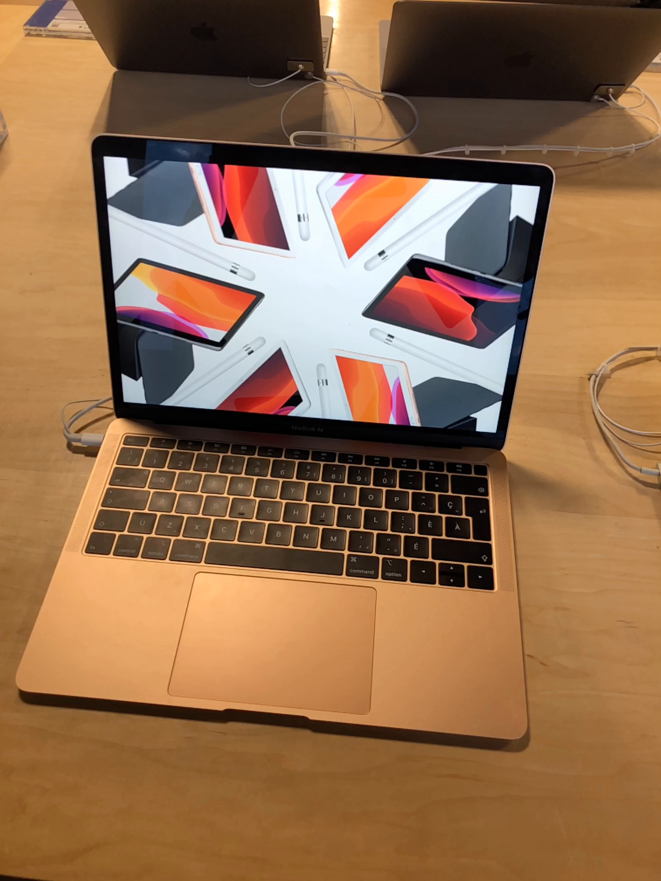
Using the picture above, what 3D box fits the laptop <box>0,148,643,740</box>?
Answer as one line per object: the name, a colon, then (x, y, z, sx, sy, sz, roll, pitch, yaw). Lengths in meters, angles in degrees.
laptop: (-0.017, -0.011, 0.438, 0.291, 0.183, 0.284, 5, 49, 3)
